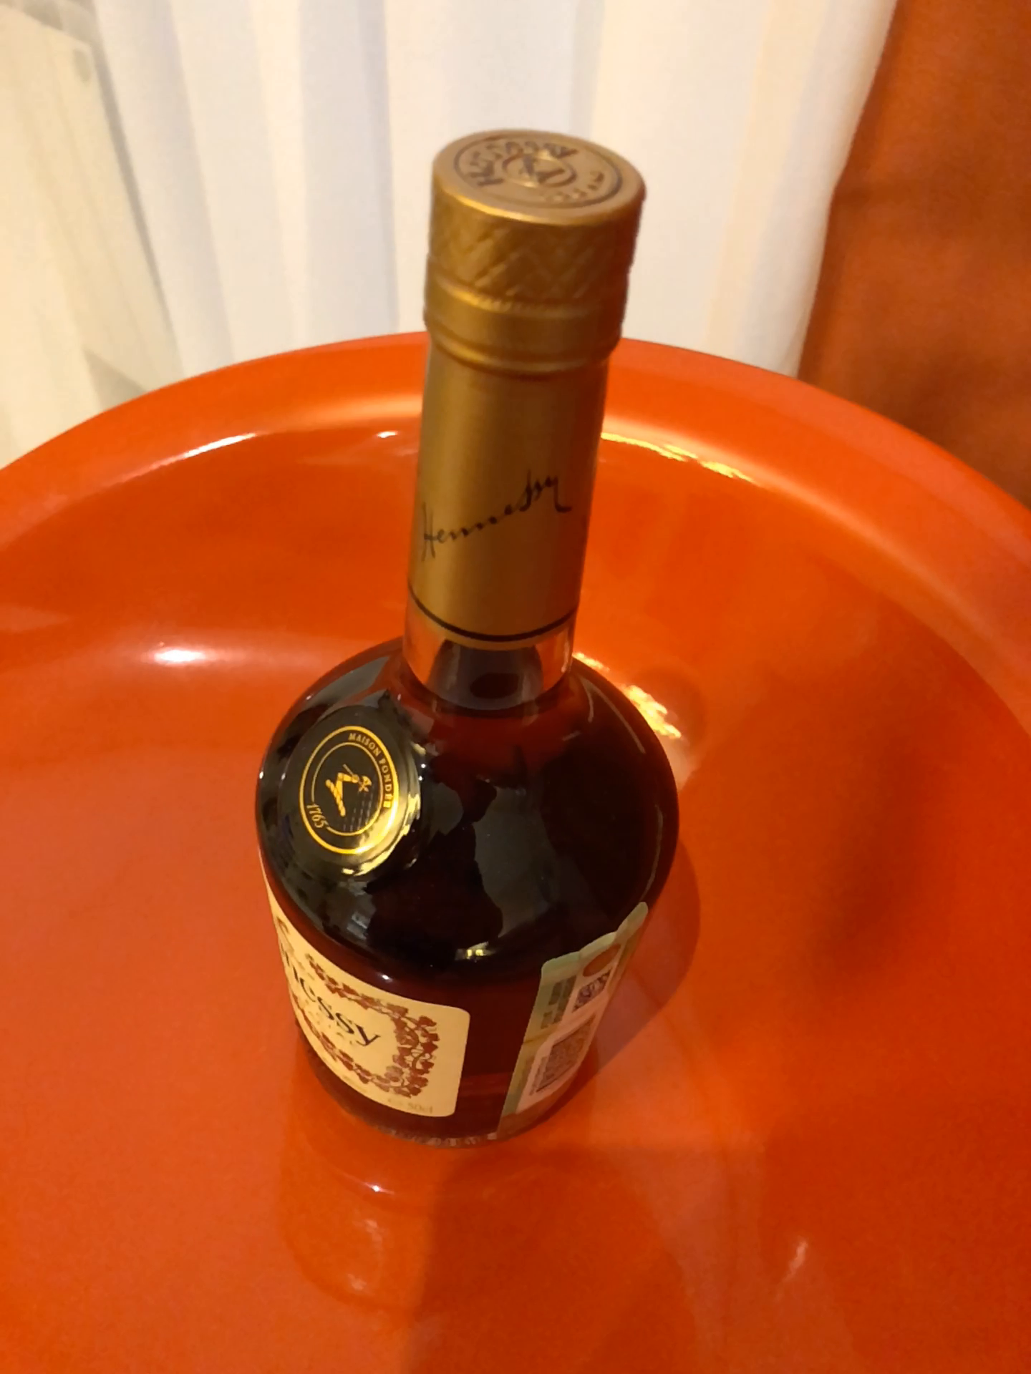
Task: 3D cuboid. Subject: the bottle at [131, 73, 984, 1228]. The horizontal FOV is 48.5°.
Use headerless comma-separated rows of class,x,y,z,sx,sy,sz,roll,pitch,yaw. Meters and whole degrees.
bottle,-0.007,0.016,0.222,0.079,0.219,0.079,3,48,-3
